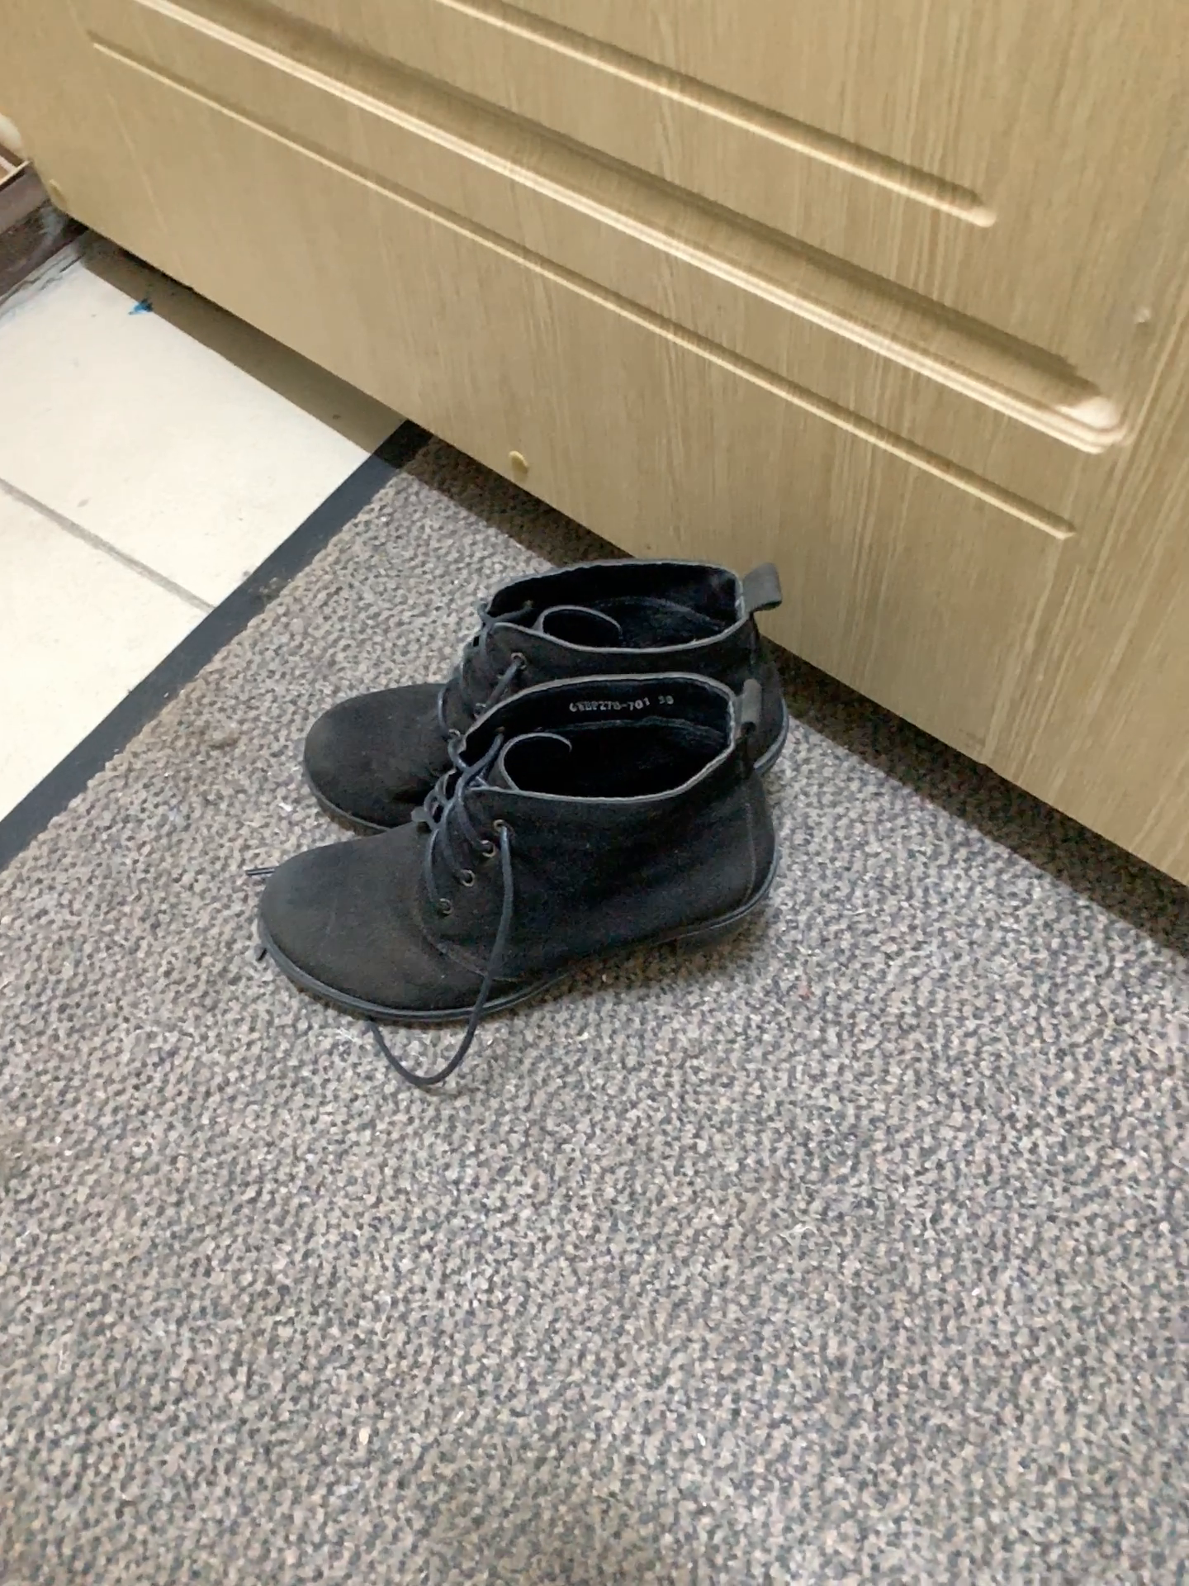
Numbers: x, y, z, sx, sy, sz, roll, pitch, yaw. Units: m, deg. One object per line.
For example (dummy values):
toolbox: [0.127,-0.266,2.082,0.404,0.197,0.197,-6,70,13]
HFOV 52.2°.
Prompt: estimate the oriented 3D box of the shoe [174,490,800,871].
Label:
shoe: [-0.033,-0.043,0.529,0.230,0.160,0.080,2,60,6]

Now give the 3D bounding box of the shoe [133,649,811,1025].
shoe: [-0.037,0.027,0.497,0.230,0.160,0.080,-2,60,4]
